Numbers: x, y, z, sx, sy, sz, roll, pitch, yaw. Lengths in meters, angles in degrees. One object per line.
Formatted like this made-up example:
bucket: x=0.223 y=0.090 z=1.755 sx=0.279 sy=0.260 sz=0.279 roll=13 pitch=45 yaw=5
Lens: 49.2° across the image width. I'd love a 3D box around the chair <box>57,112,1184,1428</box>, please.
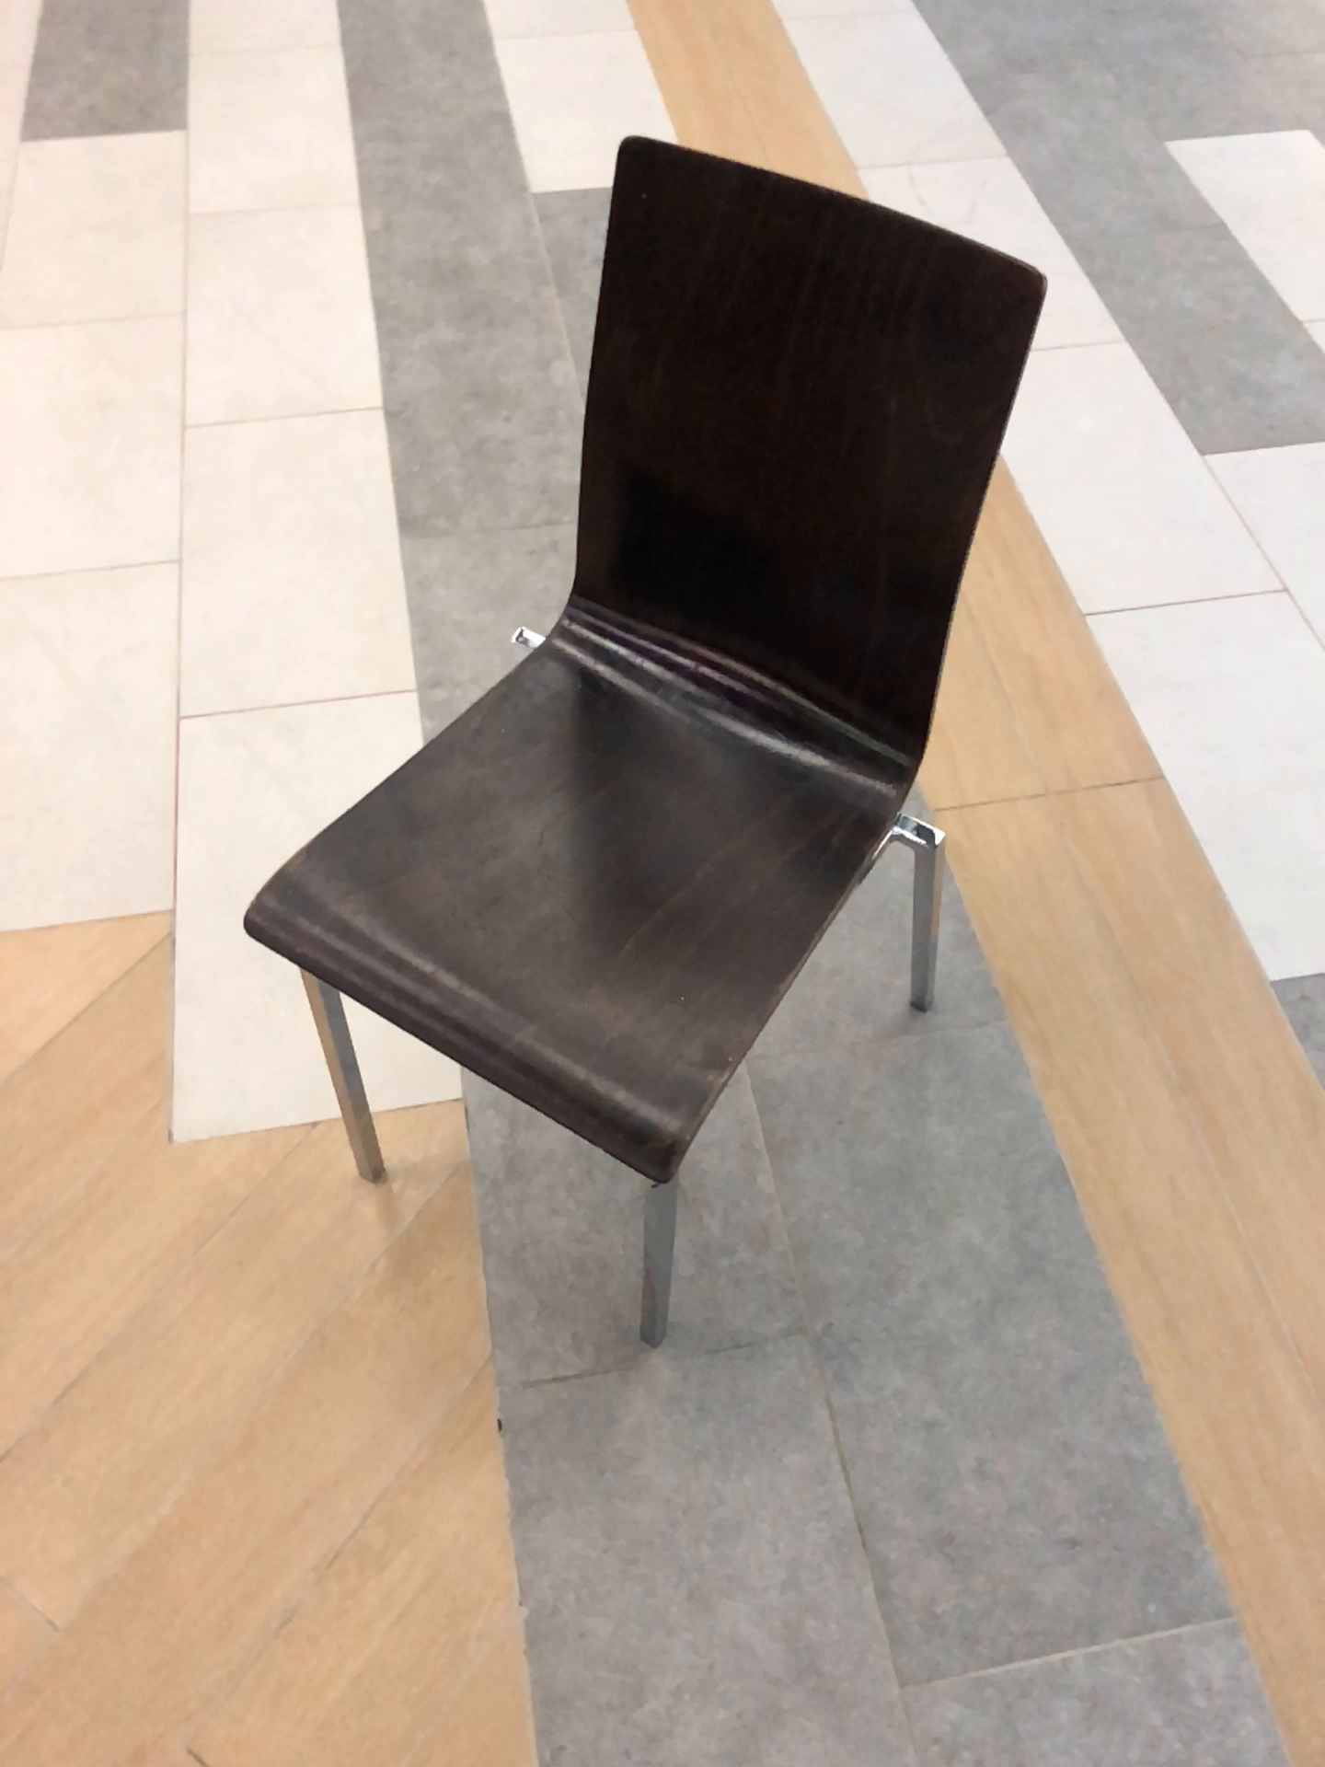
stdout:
chair: x=-0.004 y=-0.033 z=1.191 sx=0.434 sy=0.848 sz=0.543 roll=28 pitch=58 yaw=18
